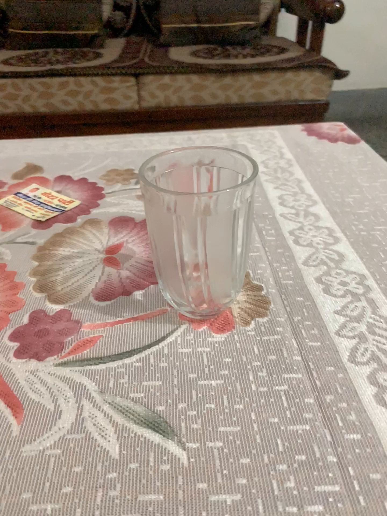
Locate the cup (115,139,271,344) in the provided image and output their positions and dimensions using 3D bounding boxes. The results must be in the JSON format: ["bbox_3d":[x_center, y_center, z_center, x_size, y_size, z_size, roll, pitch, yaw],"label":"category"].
[{"bbox_3d":[0.005,-0.013,0.258,0.070,0.100,0.070,-1,36,1],"label":"cup"}]
